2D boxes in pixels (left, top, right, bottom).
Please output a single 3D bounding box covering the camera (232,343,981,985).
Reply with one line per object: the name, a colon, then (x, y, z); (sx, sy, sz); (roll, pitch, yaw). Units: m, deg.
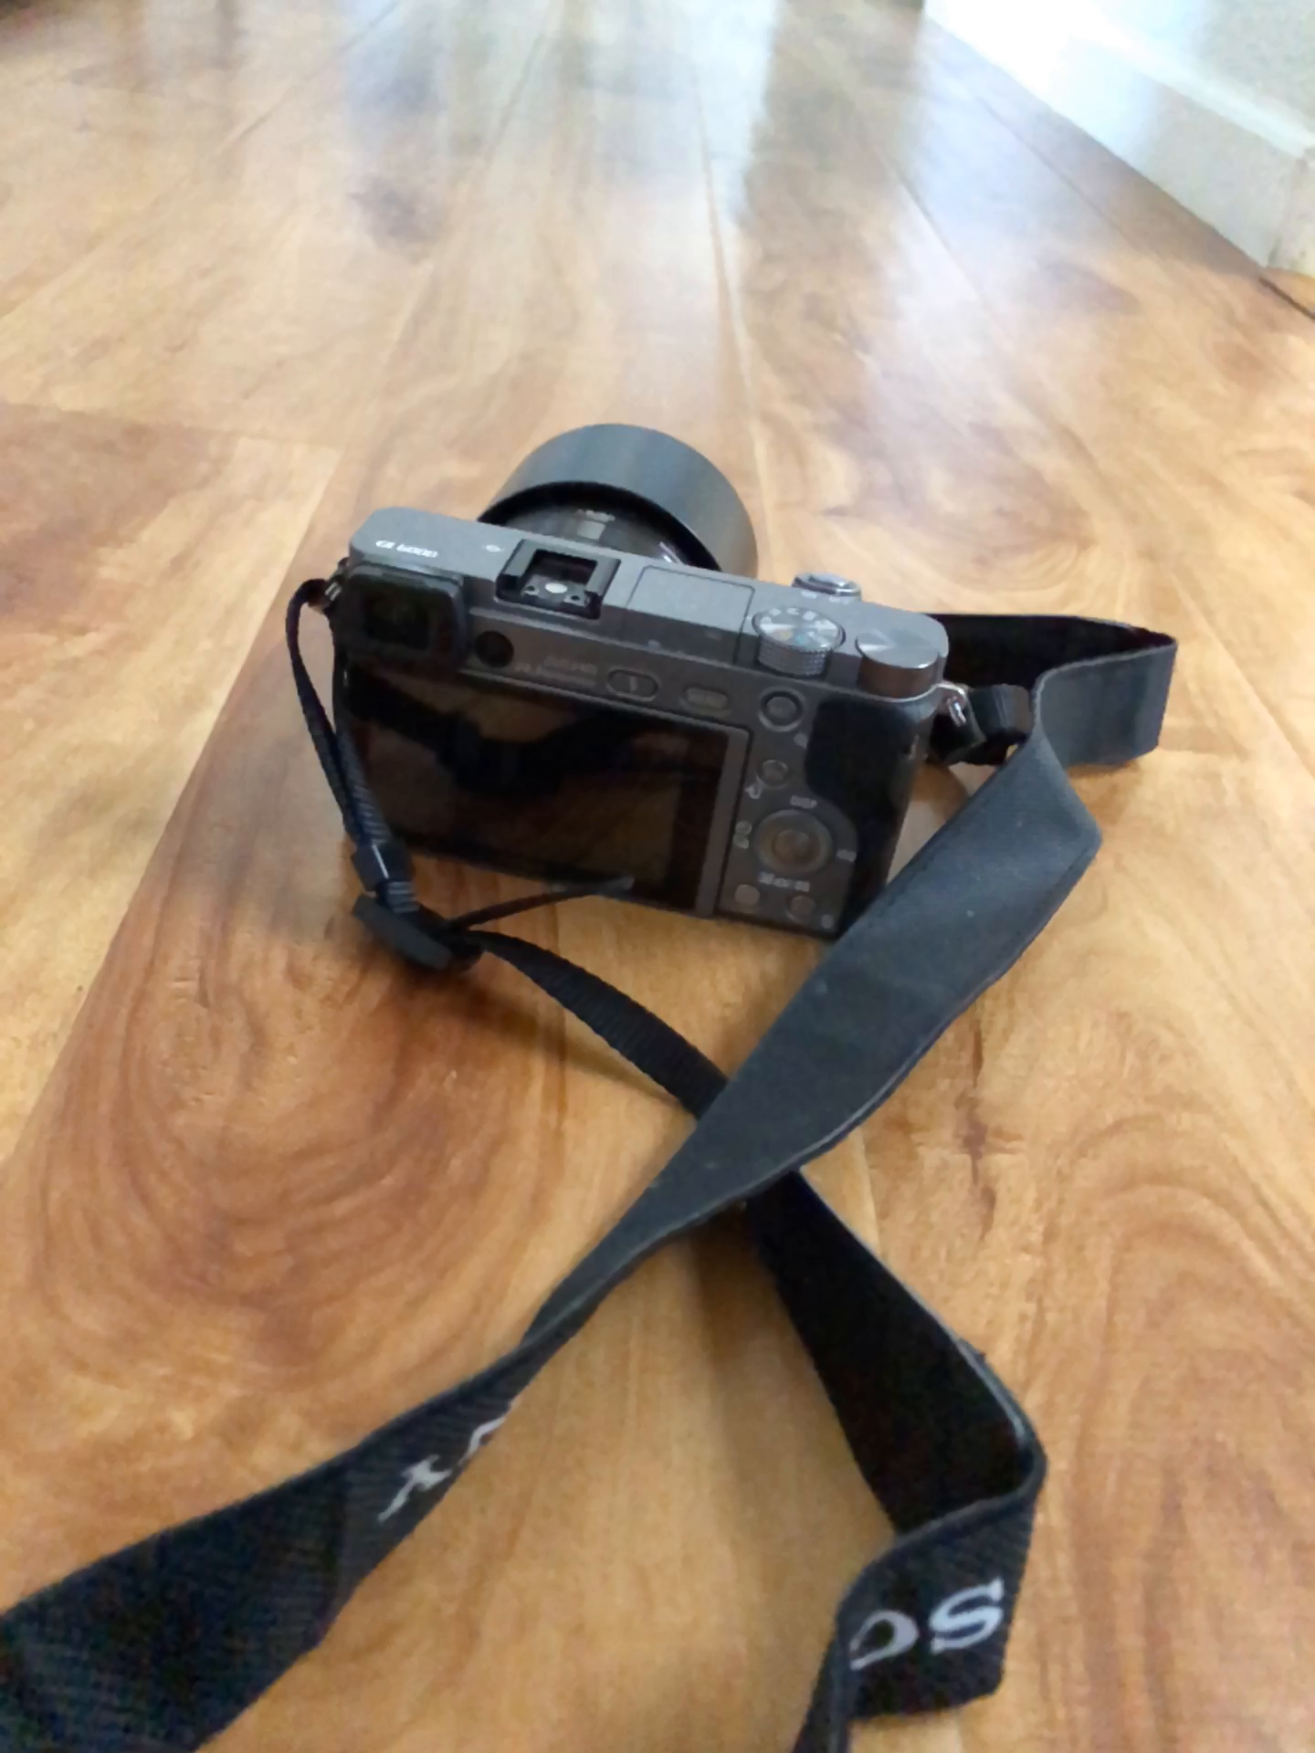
camera: (-0.006, -0.055, 0.333); (0.140, 0.080, 0.111); (12, 35, 4)
